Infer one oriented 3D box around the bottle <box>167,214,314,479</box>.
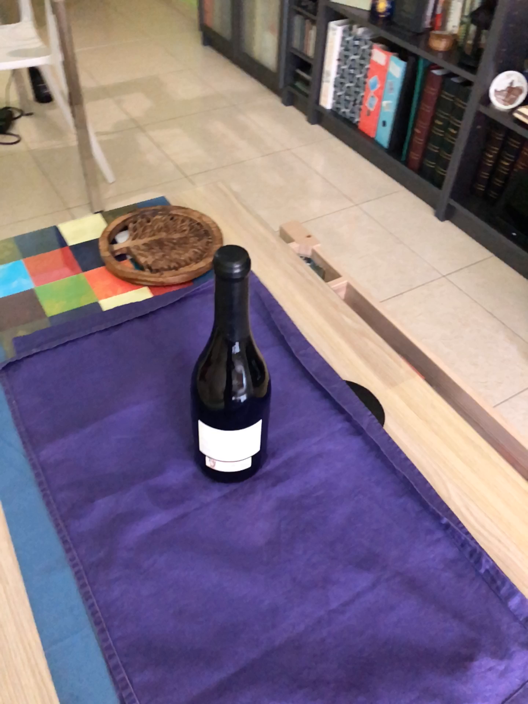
[{"bbox_3d":[-0.022,0.008,0.564,0.110,0.259,0.100,1,46,-2],"label":"bottle"}]
